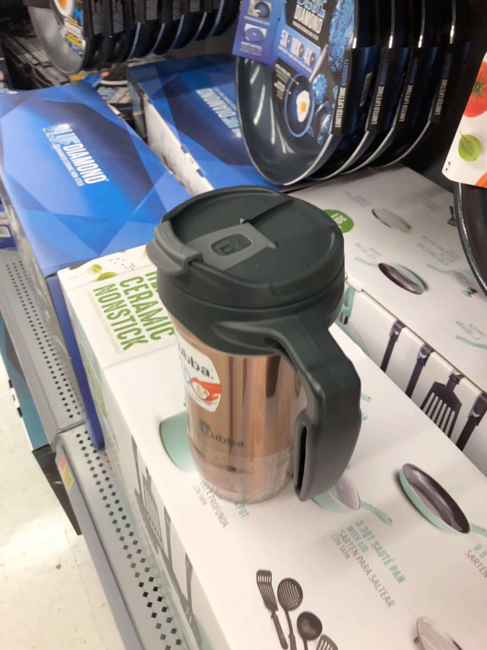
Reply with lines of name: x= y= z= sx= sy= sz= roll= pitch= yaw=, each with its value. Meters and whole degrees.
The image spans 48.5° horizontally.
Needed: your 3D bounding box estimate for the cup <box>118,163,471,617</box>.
cup: x=0.014 y=0.036 z=0.298 sx=0.093 sy=0.182 sz=0.144 roll=-20 pitch=46 yaw=-18
